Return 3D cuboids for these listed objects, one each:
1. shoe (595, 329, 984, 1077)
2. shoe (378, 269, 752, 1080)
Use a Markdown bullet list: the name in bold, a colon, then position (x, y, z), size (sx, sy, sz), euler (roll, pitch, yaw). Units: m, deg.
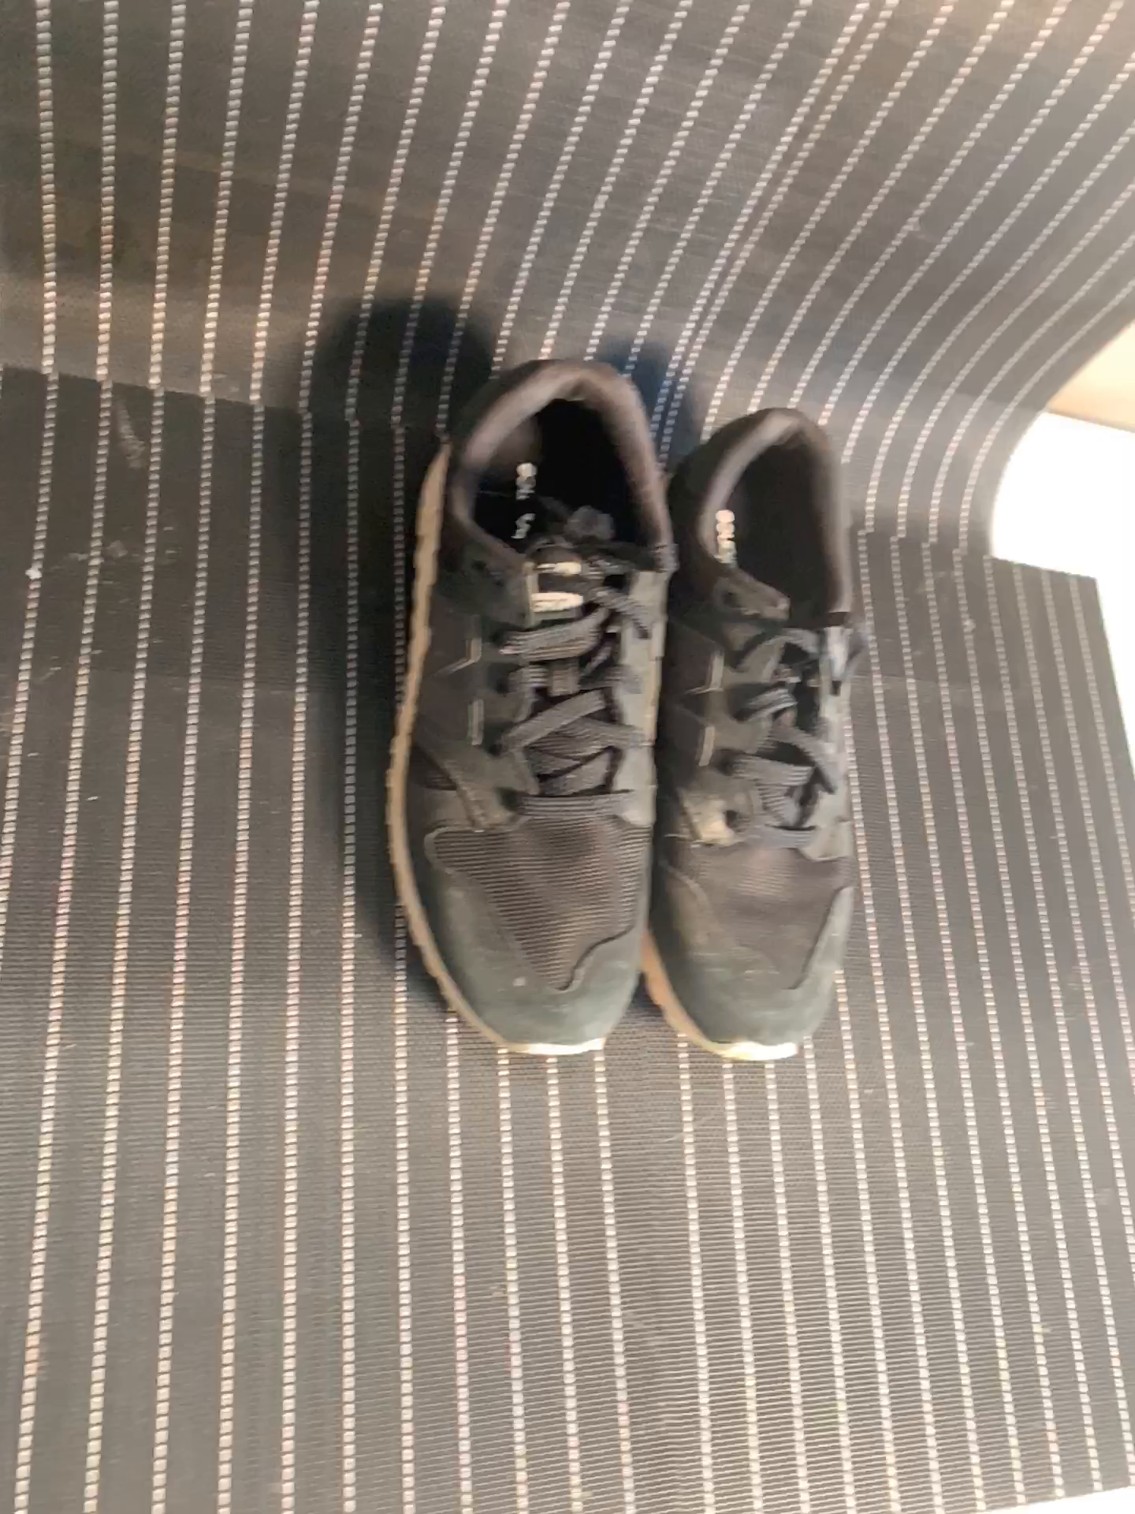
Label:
- **shoe**: position (0.085, -0.020, 0.506), size (0.110, 0.090, 0.300), euler (6, 70, -21)
- **shoe**: position (-0.012, -0.031, 0.469), size (0.110, 0.090, 0.300), euler (4, 70, -21)
